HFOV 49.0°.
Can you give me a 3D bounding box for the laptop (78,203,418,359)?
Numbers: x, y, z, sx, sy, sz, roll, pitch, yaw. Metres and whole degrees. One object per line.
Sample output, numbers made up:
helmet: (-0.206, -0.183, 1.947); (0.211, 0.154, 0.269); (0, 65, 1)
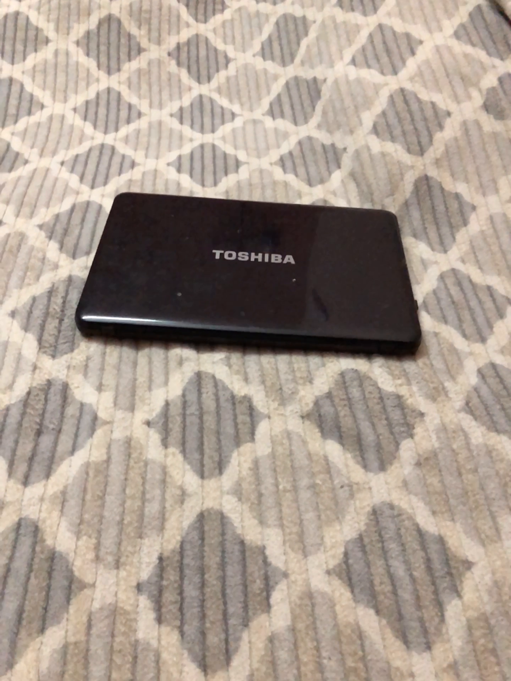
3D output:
laptop: (-0.006, -0.087, 0.715); (0.375, 0.023, 0.250); (4, 45, -1)
